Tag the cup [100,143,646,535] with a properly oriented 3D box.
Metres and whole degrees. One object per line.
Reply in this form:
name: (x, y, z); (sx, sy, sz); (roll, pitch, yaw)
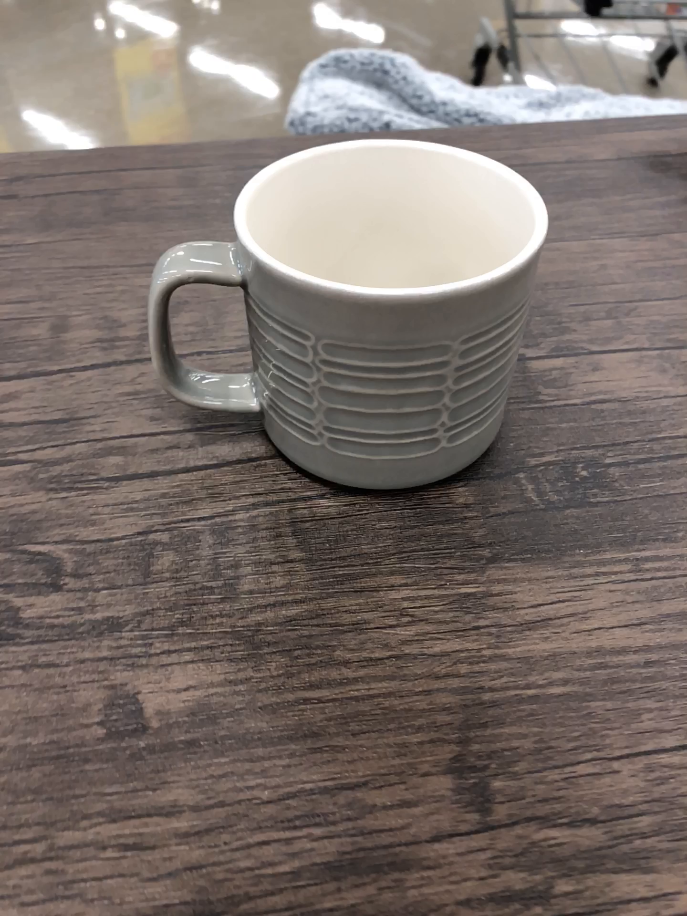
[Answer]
cup: (0.007, -0.042, 0.264); (0.140, 0.090, 0.100); (-1, 45, -1)
